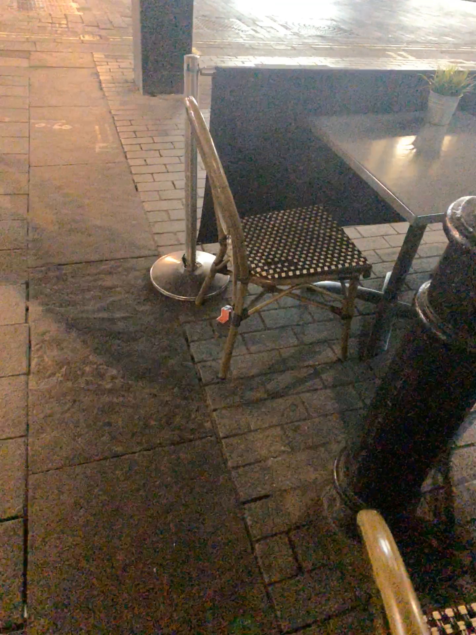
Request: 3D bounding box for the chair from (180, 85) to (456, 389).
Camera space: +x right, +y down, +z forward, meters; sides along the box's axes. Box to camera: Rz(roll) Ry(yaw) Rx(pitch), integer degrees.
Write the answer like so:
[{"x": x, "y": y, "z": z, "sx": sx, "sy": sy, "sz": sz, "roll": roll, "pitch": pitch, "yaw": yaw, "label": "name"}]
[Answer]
[{"x": 0.164, "y": -0.266, "z": 1.604, "sx": 0.601, "sy": 0.792, "sz": 0.515, "roll": -8, "pitch": 43, "yaw": -16, "label": "chair"}]
